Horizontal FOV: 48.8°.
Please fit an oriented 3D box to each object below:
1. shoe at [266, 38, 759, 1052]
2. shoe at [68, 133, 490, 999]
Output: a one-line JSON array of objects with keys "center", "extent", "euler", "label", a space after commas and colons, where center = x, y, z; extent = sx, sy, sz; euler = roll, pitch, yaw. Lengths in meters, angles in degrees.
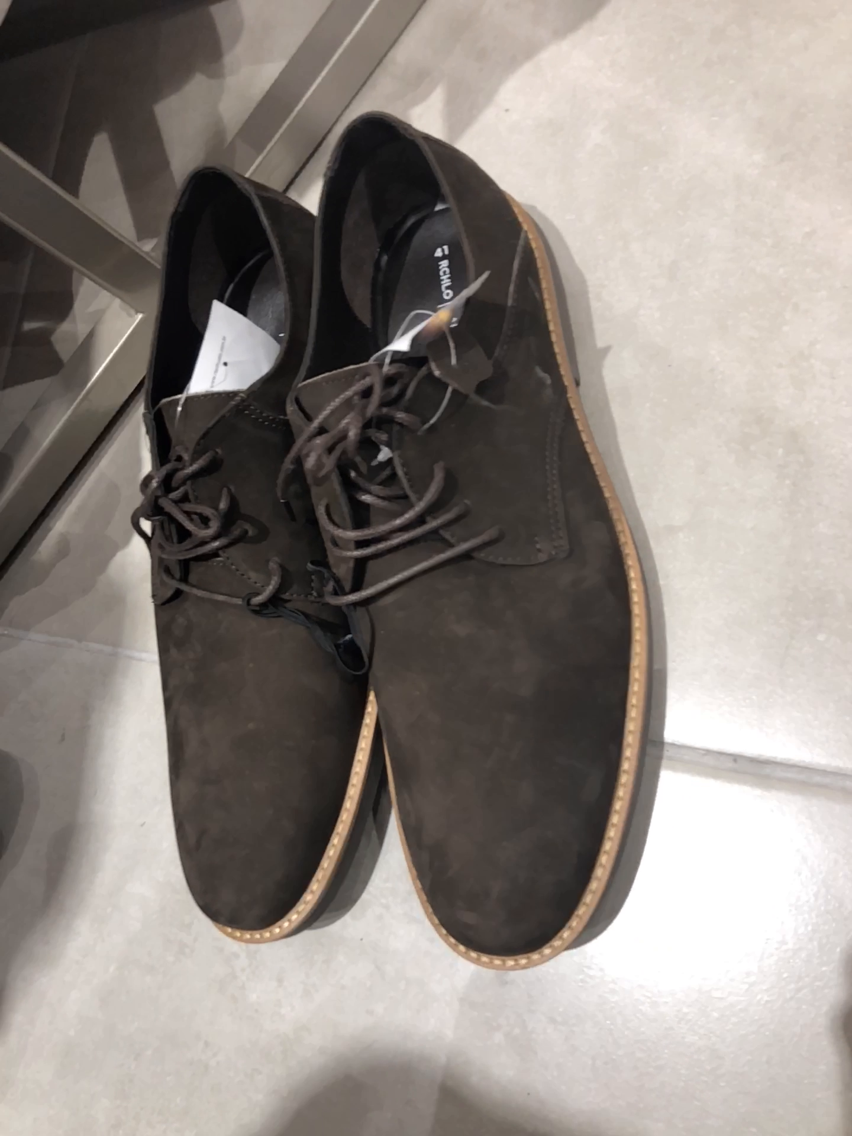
[{"center": [0.029, -0.005, 0.339], "extent": [0.110, 0.120, 0.300], "euler": [-12, 73, 22], "label": "shoe"}, {"center": [-0.048, 0.000, 0.394], "extent": [0.110, 0.120, 0.300], "euler": [-4, 77, 24], "label": "shoe"}]
